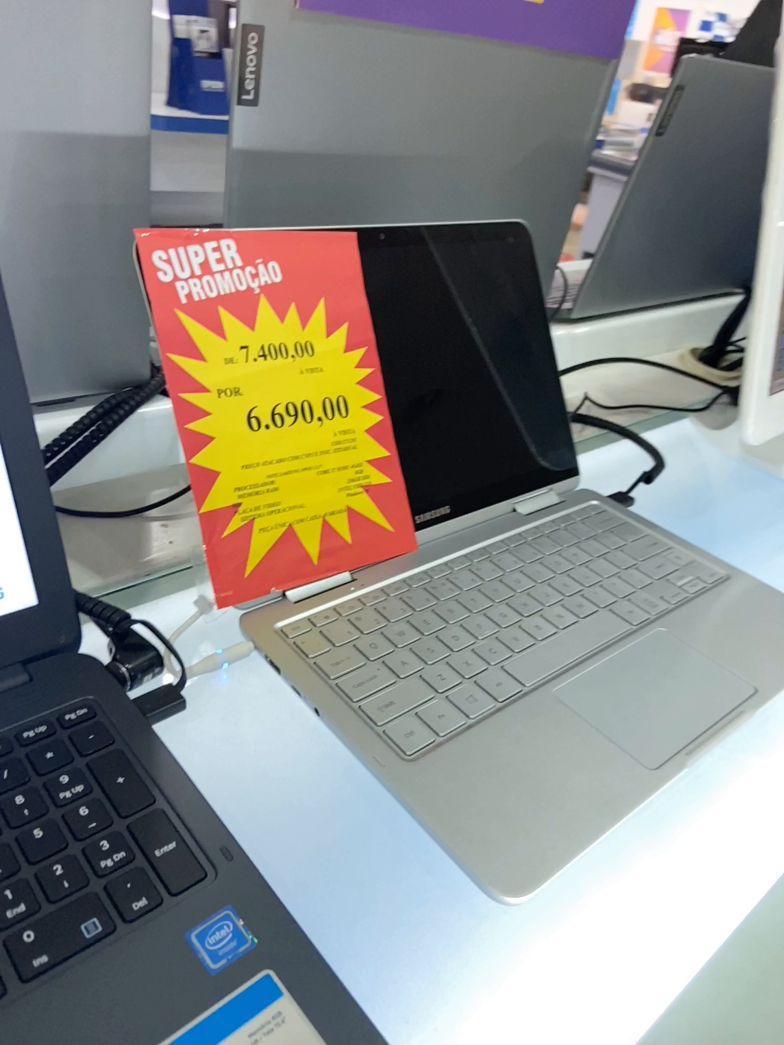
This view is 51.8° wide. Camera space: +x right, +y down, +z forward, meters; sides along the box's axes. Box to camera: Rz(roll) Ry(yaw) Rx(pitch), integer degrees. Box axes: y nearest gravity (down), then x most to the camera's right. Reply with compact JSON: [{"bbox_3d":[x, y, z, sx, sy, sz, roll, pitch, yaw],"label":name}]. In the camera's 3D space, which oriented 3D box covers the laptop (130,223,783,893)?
[{"bbox_3d":[0.071,-0.041,0.453,0.306,0.170,0.311,-18,39,-37],"label":"laptop"}]
